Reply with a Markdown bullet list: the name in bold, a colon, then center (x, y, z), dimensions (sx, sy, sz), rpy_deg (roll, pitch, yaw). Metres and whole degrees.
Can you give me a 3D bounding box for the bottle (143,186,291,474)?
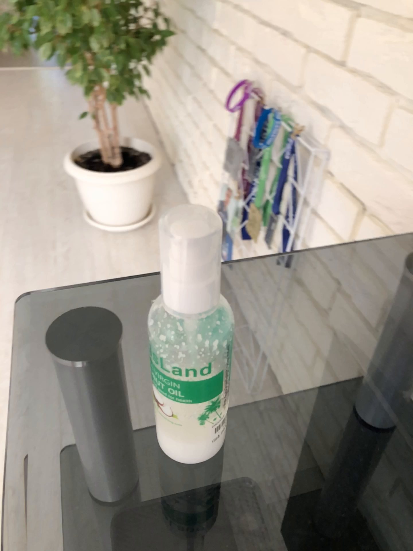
- **bottle**: center (-0.001, 0.033, 0.219), dimensions (0.050, 0.139, 0.050), rpy_deg (2, 38, -1)
